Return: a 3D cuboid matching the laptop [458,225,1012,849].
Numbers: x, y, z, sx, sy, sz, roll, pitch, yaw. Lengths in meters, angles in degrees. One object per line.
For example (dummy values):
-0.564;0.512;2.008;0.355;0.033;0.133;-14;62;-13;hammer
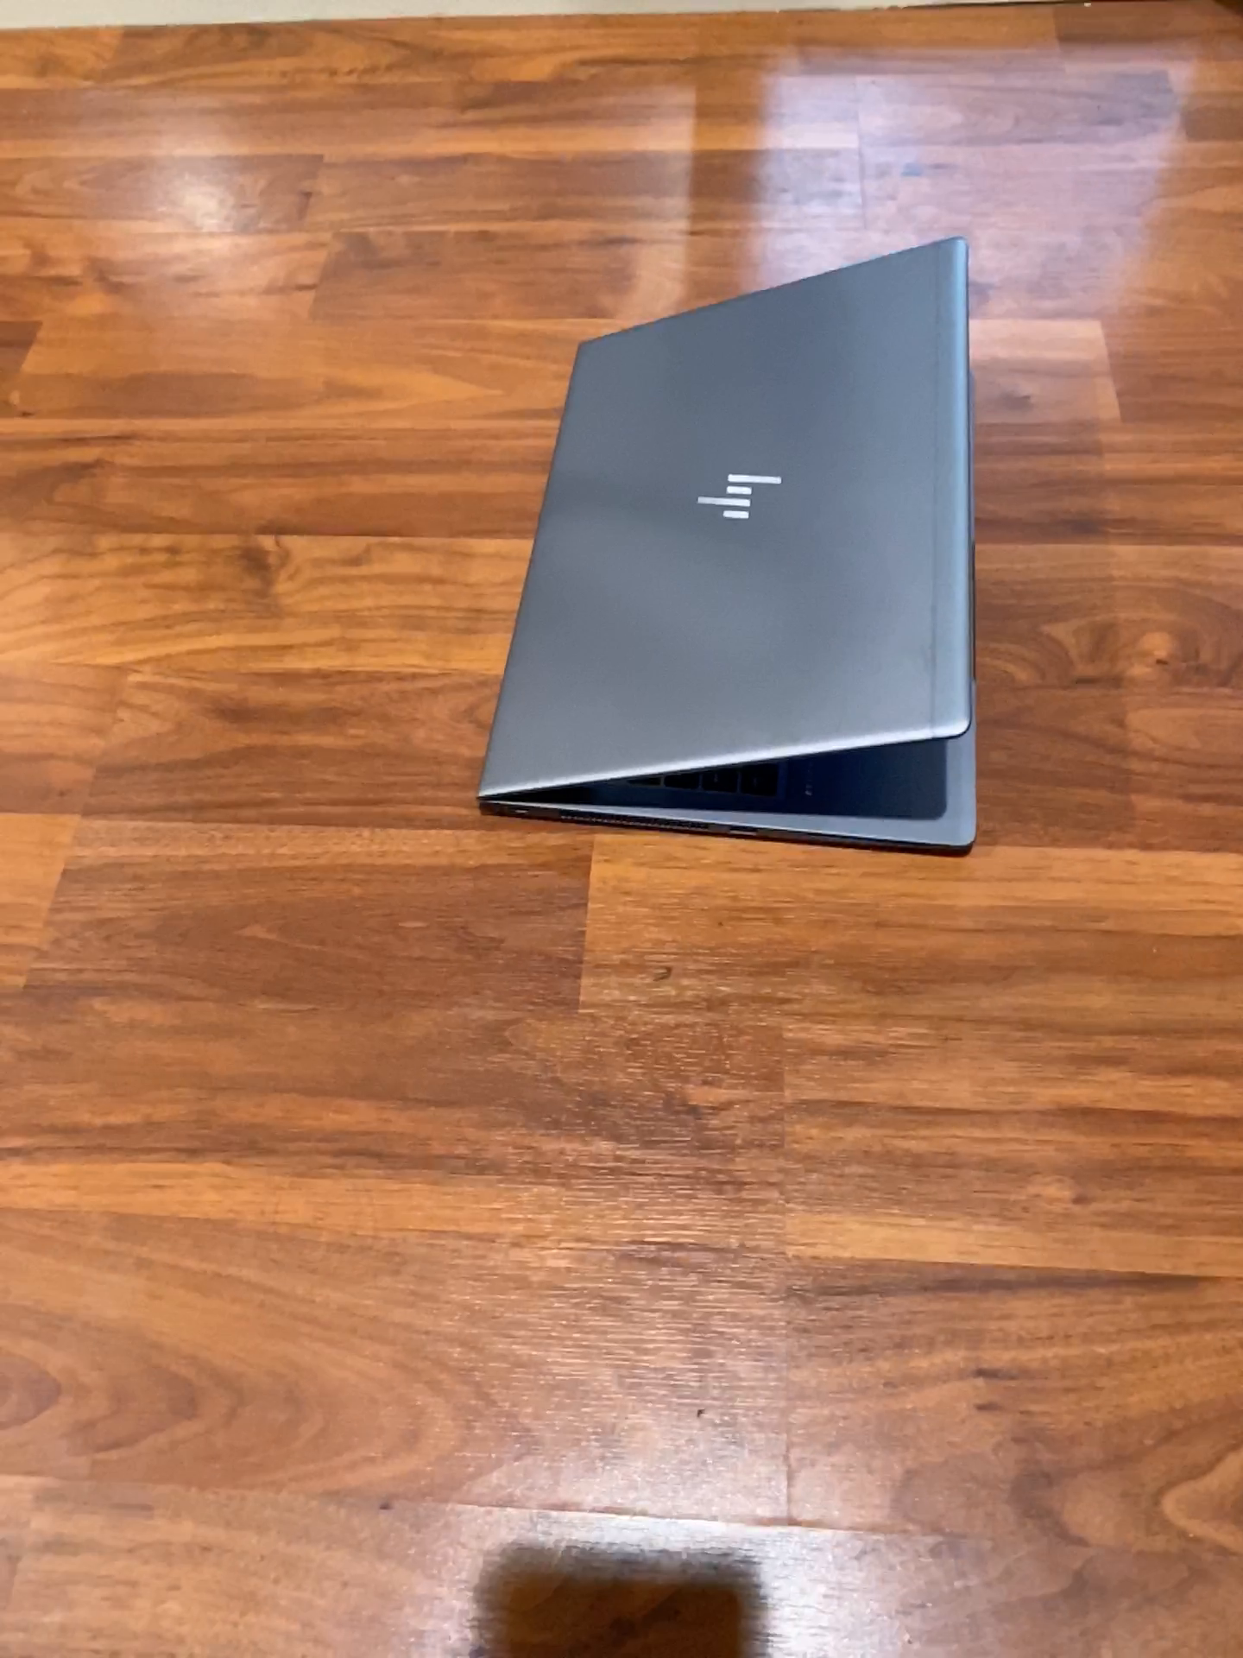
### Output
0.067;-0.162;0.639;0.230;0.078;0.326;6;60;5;laptop
